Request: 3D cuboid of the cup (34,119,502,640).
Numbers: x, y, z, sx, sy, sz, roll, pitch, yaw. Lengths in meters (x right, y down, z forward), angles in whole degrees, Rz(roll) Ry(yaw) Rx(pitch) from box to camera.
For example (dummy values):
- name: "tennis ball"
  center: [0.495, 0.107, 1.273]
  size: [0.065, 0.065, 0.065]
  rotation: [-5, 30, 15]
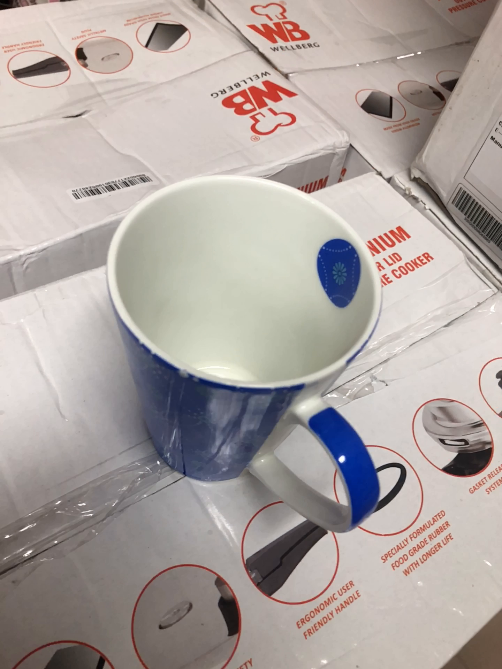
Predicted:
- name: "cup"
  center: [0.000, 0.014, 0.182]
  size: [0.080, 0.090, 0.120]
  rotation: [-26, 67, -26]
